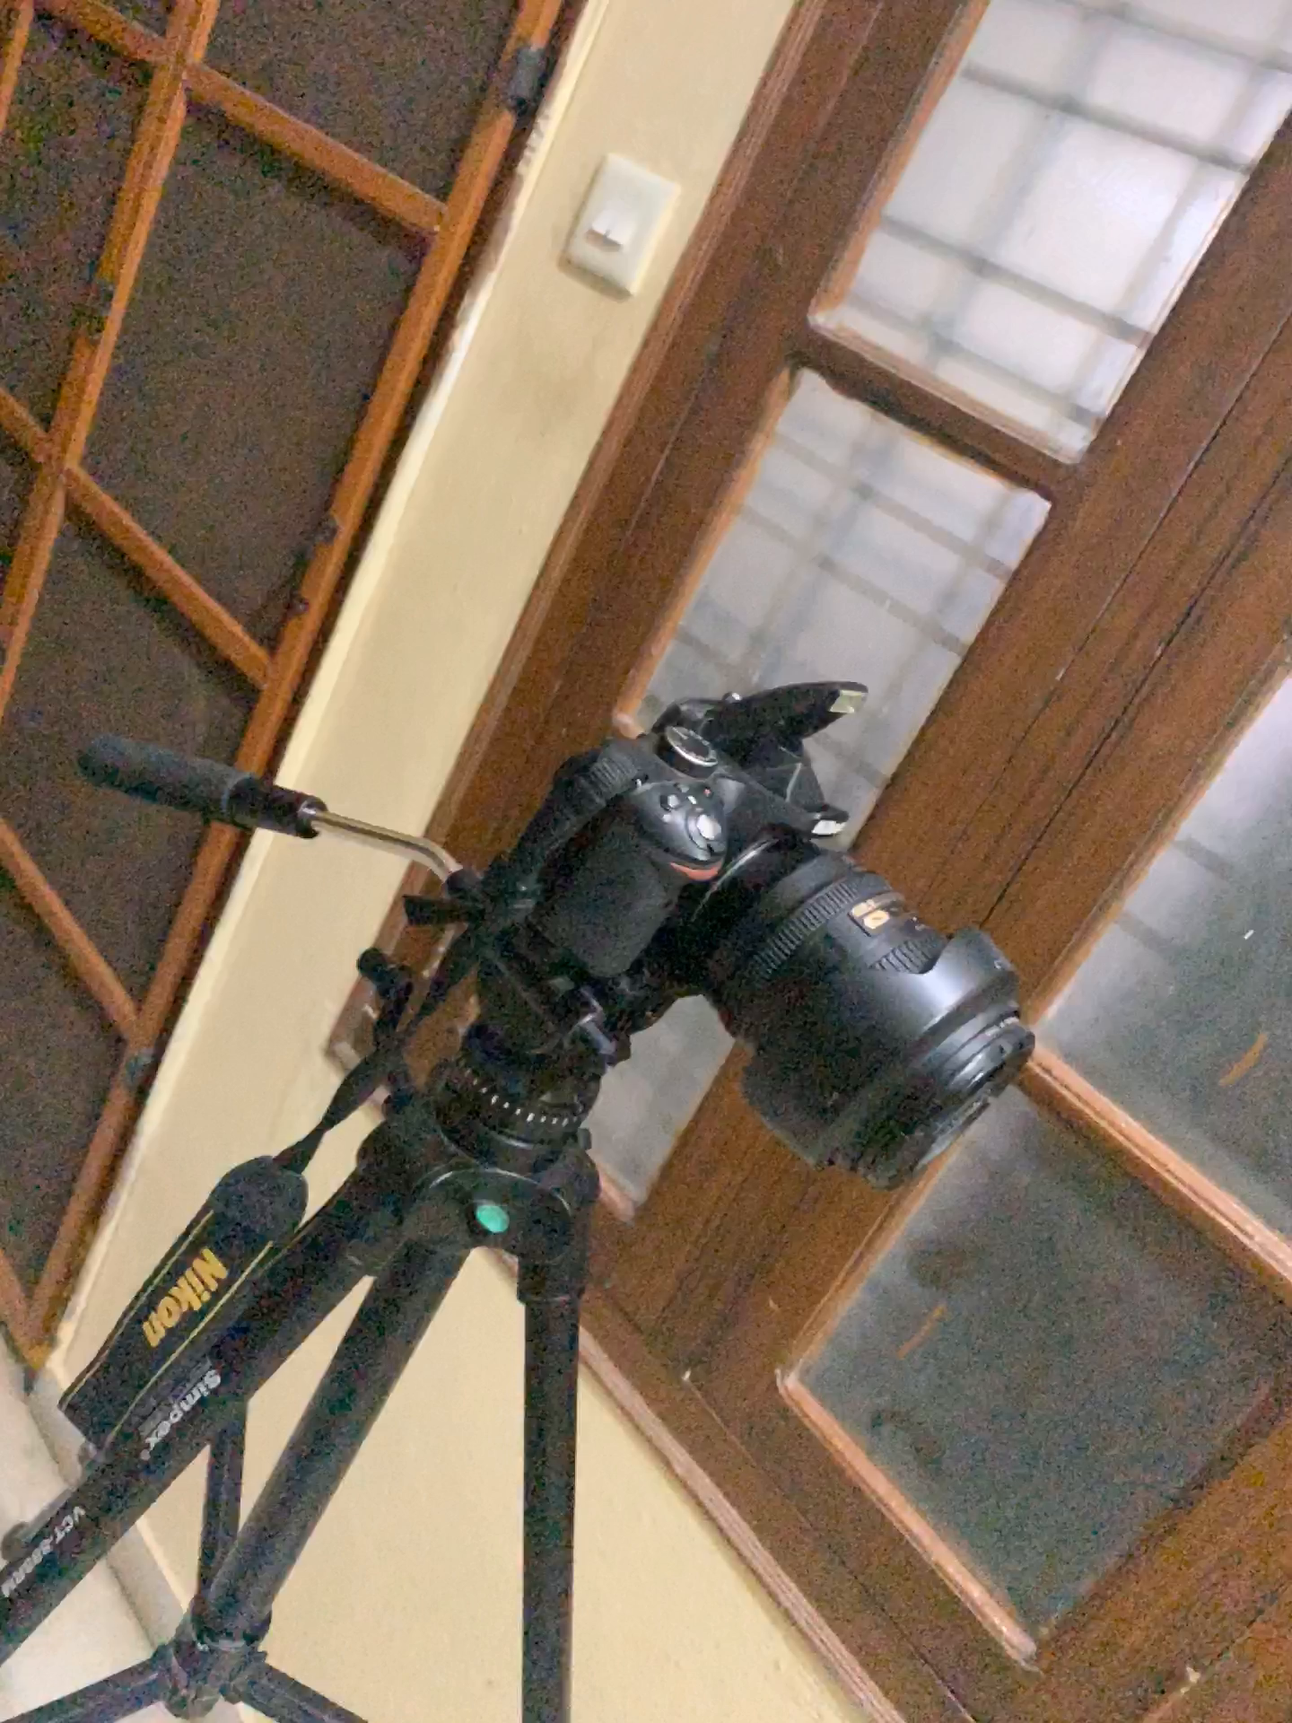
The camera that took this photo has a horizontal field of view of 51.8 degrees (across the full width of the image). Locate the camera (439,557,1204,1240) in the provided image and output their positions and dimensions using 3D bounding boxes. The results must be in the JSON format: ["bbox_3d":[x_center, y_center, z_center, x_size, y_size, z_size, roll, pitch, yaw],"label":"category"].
[{"bbox_3d":[0.062,0.002,0.491,0.200,0.129,0.151,40,25,27],"label":"camera"}]
